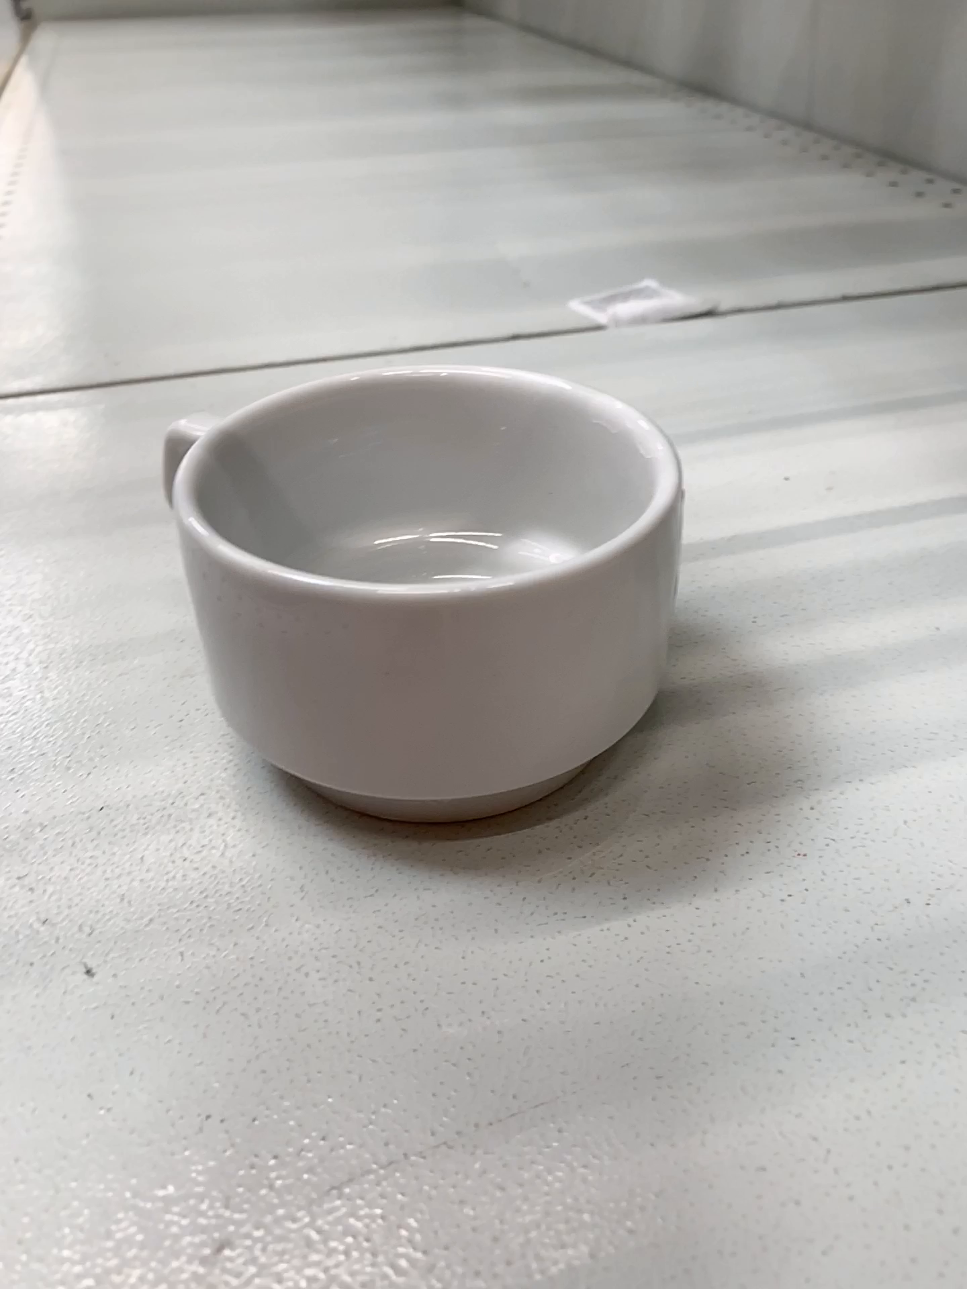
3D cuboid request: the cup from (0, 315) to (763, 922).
[{"bbox_3d":[-0.019,-0.018,0.203,0.111,0.051,0.091,24,43,29],"label":"cup"}]
